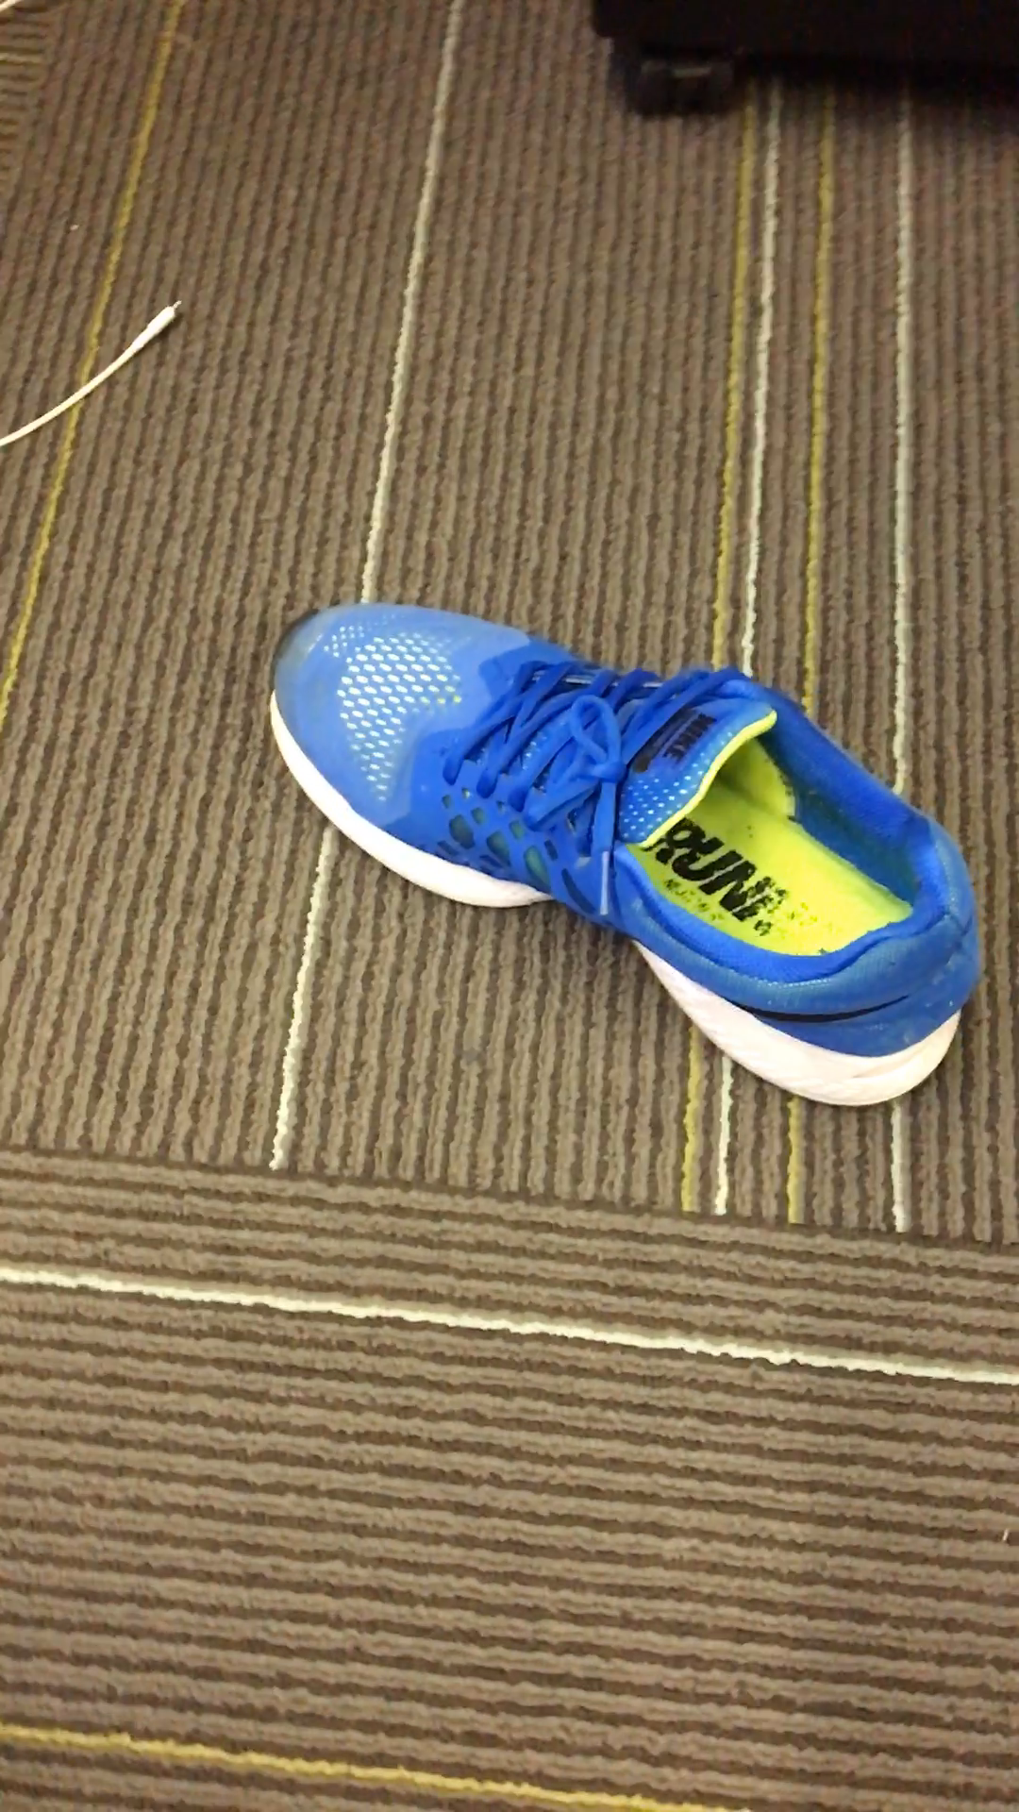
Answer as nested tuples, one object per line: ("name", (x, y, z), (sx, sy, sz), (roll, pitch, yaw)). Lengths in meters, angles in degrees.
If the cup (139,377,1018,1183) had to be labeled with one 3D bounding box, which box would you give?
("cup", (0.040, -0.045, 0.536), (0.300, 0.100, 0.130), (29, 71, 11))
